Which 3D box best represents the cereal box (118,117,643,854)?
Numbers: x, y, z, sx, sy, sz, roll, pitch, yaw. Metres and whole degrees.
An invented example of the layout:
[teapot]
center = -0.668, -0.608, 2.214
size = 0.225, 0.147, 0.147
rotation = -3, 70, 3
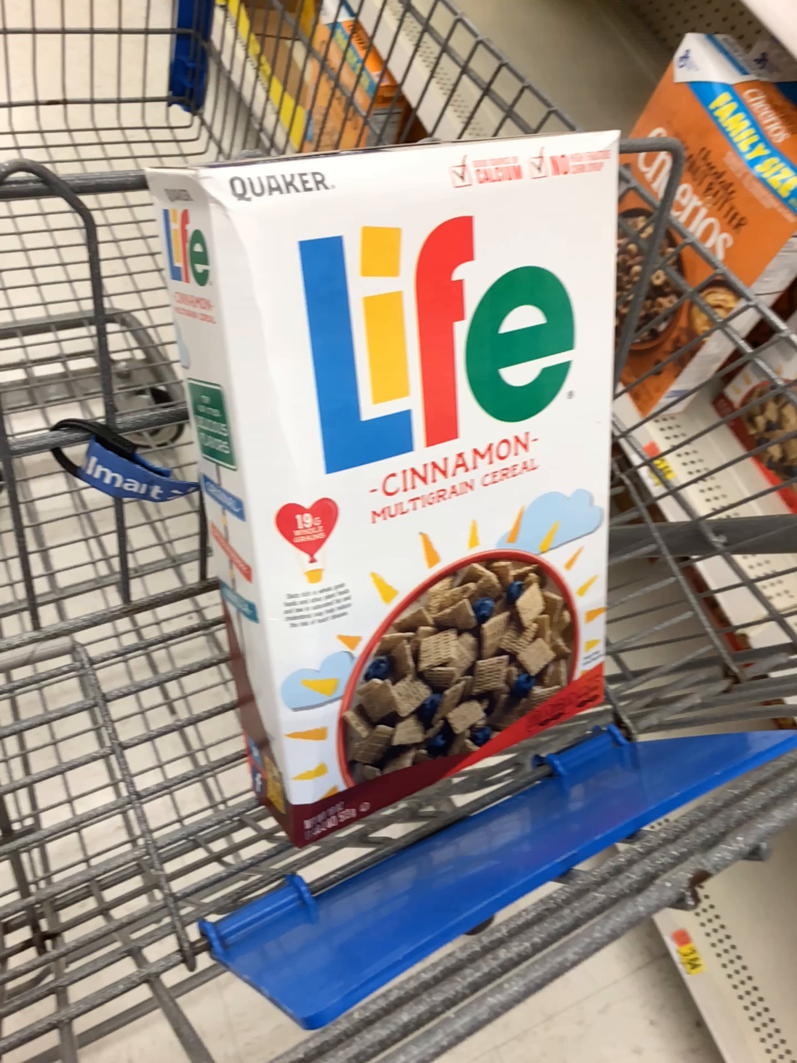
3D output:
[cereal box]
center = 0.011, -0.026, 0.402
size = 0.200, 0.280, 0.070
rotation = -18, 26, -27
